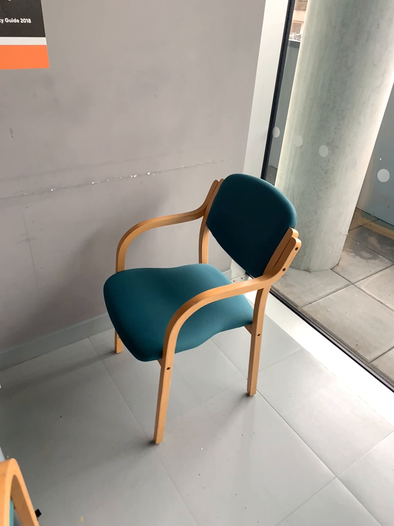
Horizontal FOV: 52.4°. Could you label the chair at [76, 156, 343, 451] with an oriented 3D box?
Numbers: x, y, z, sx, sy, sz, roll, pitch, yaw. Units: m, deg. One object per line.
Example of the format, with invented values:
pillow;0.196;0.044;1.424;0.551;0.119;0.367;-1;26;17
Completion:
chair;-0.013;0.086;1.548;0.642;0.723;0.685;-15;38;-28
